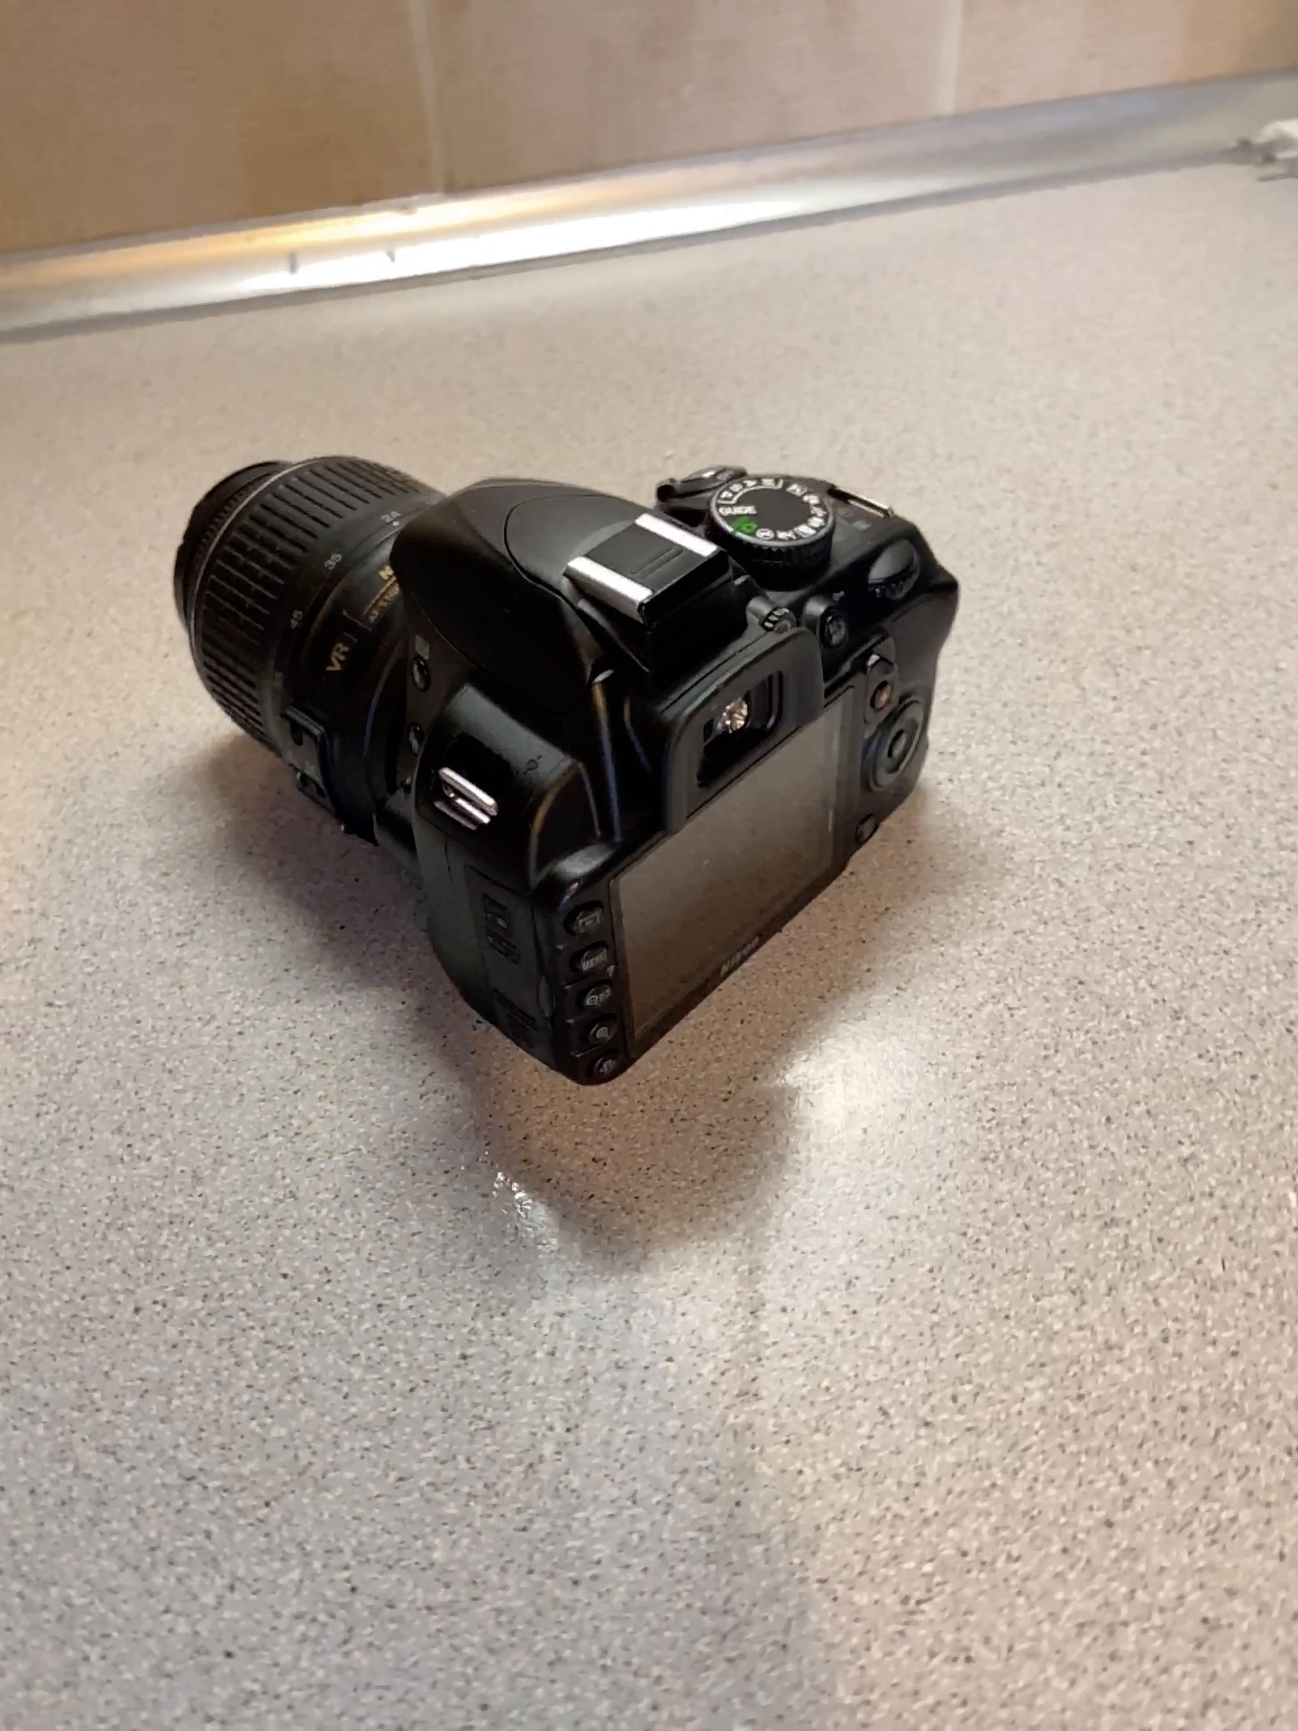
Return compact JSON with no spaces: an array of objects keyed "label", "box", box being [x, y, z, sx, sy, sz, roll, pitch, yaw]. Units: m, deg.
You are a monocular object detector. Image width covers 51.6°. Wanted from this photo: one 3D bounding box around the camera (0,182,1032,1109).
[{"label":"camera","box":[-0.034,-0.062,0.292,0.178,0.091,0.122,33,57,30]}]
